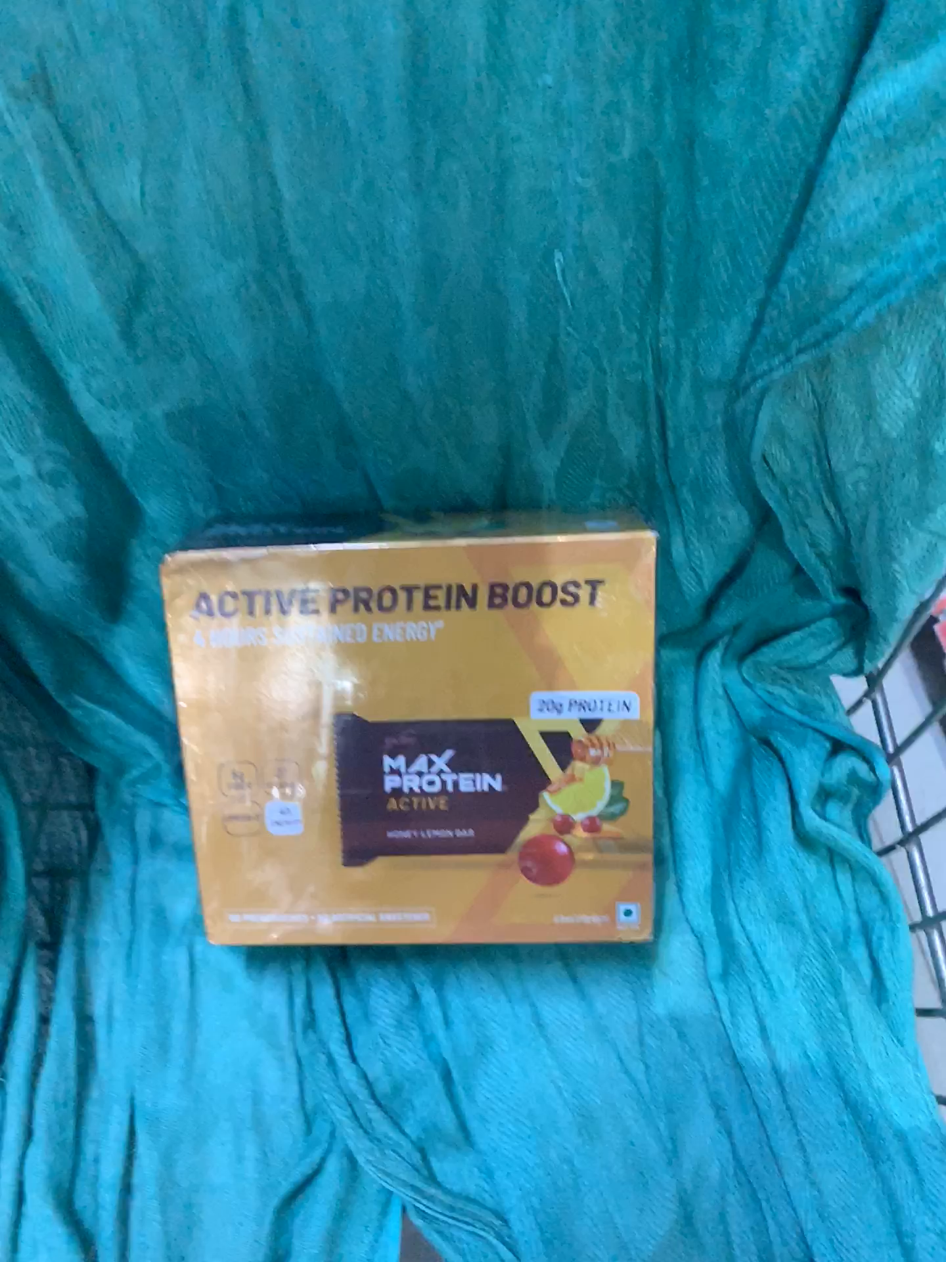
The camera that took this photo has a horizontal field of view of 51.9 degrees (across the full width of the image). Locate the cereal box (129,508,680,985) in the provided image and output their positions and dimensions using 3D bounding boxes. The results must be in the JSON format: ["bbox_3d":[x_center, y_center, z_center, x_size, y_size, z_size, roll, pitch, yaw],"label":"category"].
[{"bbox_3d":[-0.016,0.035,0.334,0.160,0.080,0.140,-2,102,4],"label":"cereal box"}]
